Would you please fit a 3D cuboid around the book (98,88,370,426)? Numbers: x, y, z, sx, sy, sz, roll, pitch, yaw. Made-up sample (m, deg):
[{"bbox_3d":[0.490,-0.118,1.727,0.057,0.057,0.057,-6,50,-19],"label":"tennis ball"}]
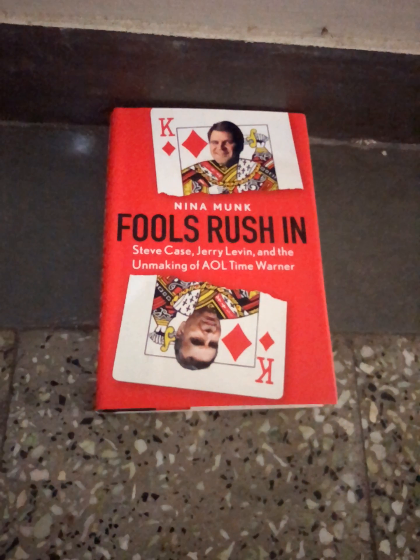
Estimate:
[{"bbox_3d":[0.010,-0.031,0.370,0.180,0.030,0.270,-1,69,-6],"label":"book"}]
